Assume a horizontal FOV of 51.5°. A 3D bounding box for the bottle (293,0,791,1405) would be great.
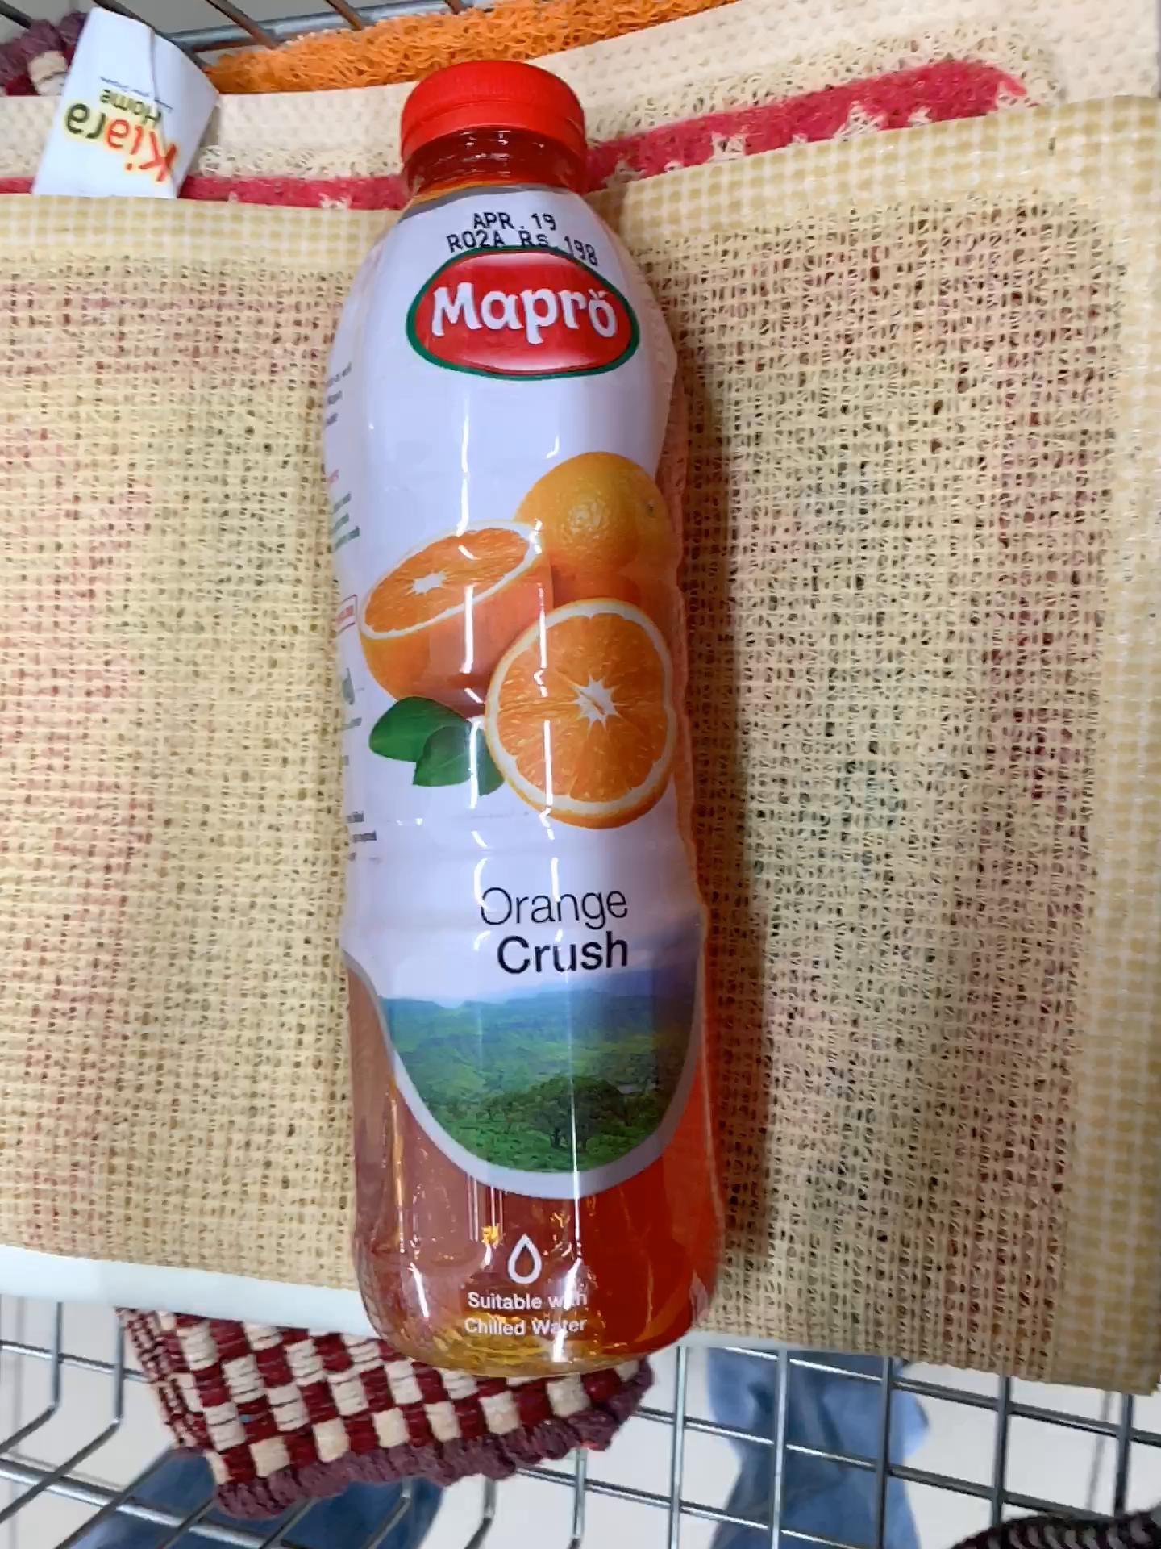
[{"bbox_3d":[-0.011,-0.022,0.229,0.080,0.070,0.240,0,89,-8],"label":"bottle"}]
